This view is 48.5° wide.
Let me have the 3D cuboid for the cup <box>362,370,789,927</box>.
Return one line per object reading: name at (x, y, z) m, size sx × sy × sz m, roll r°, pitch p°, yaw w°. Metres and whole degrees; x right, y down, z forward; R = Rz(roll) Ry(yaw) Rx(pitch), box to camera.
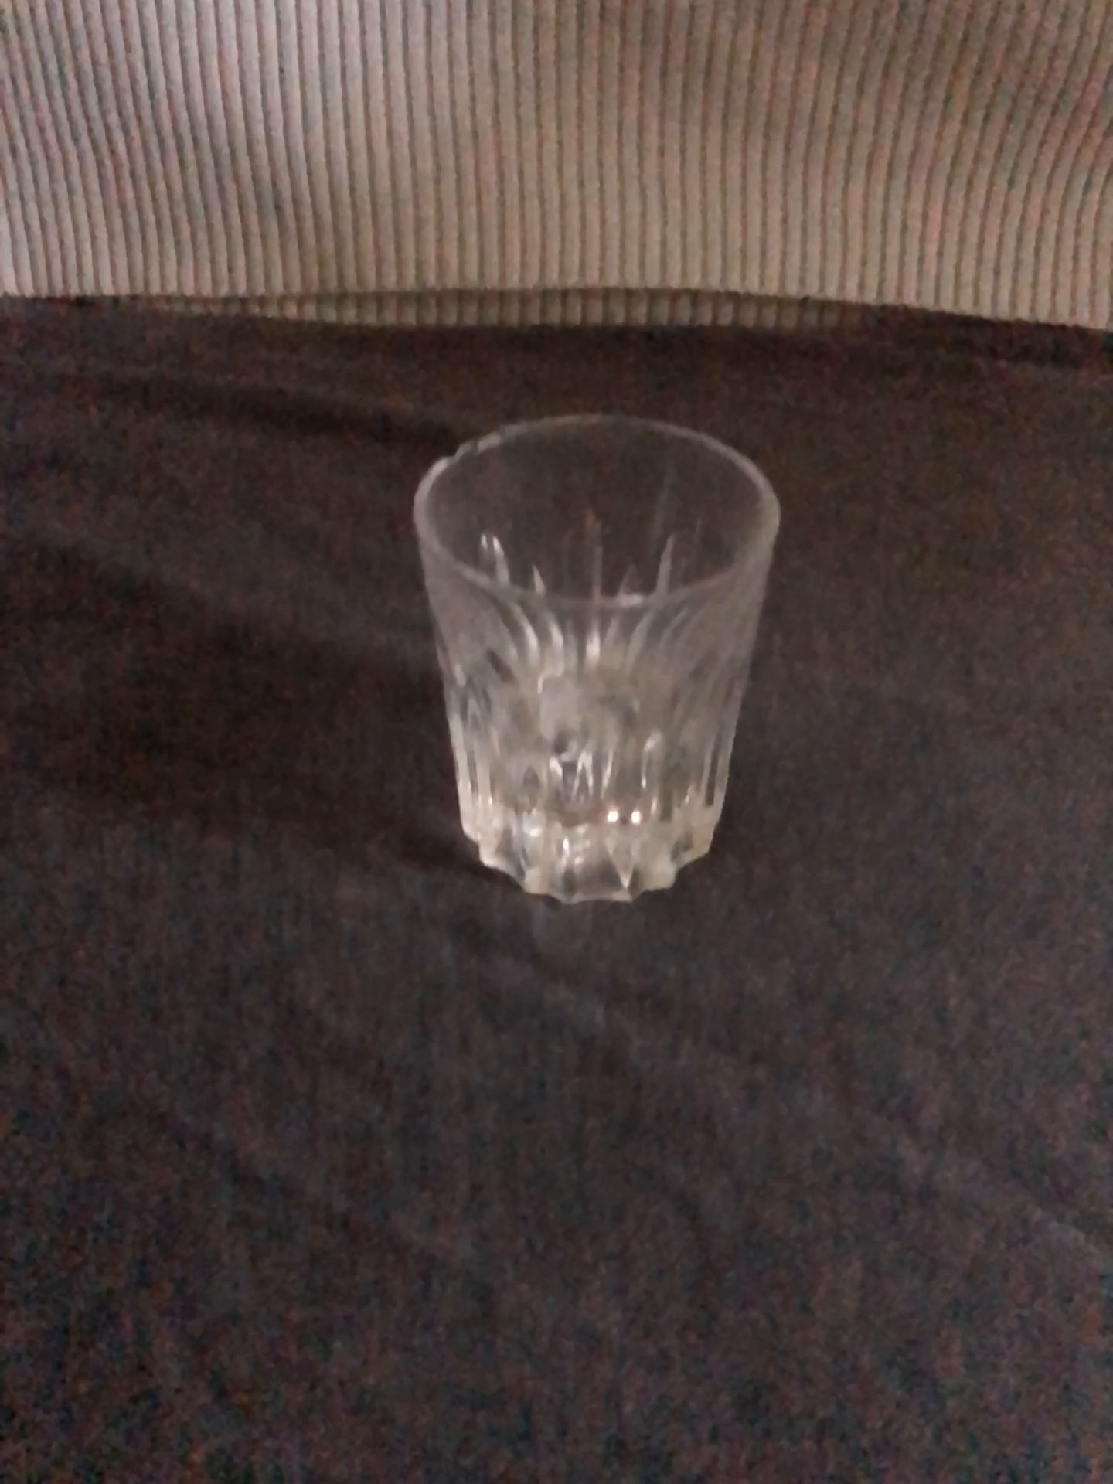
cup at (0.004, -0.016, 0.220) m, size 0.059 × 0.078 × 0.048 m, roll 9°, pitch 40°, yaw 8°
